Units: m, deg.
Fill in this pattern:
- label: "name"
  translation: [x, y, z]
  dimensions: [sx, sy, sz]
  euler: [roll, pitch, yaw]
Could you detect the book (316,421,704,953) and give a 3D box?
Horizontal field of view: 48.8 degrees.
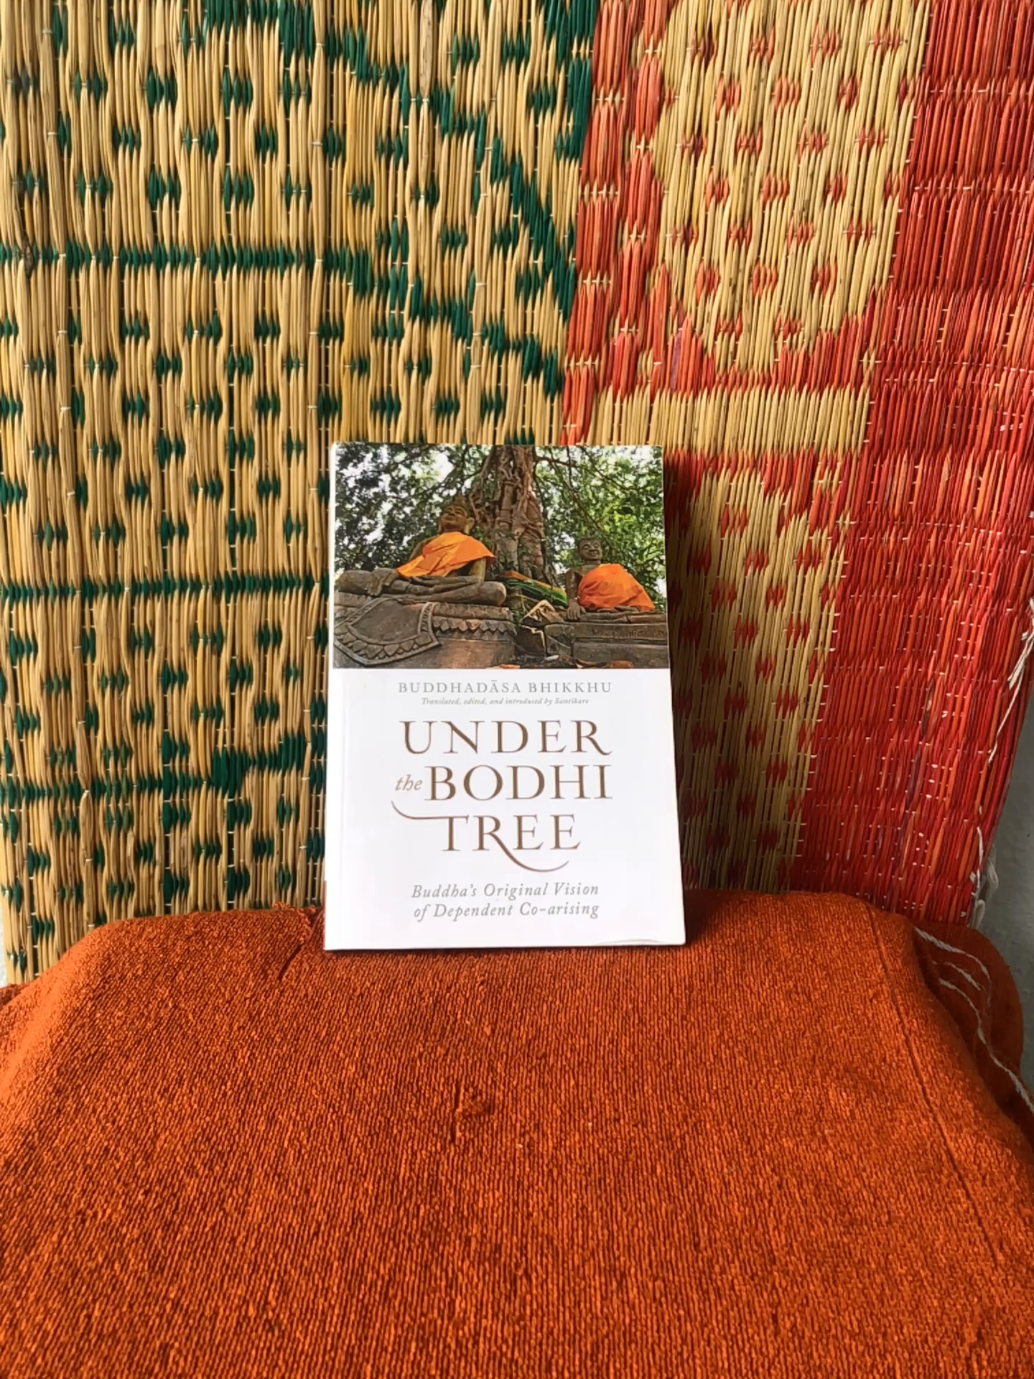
- label: "book"
  translation: [-0.005, -0.004, 0.505]
  dimensions: [0.160, 0.231, 0.030]
  euler: [0, -11, -4]
